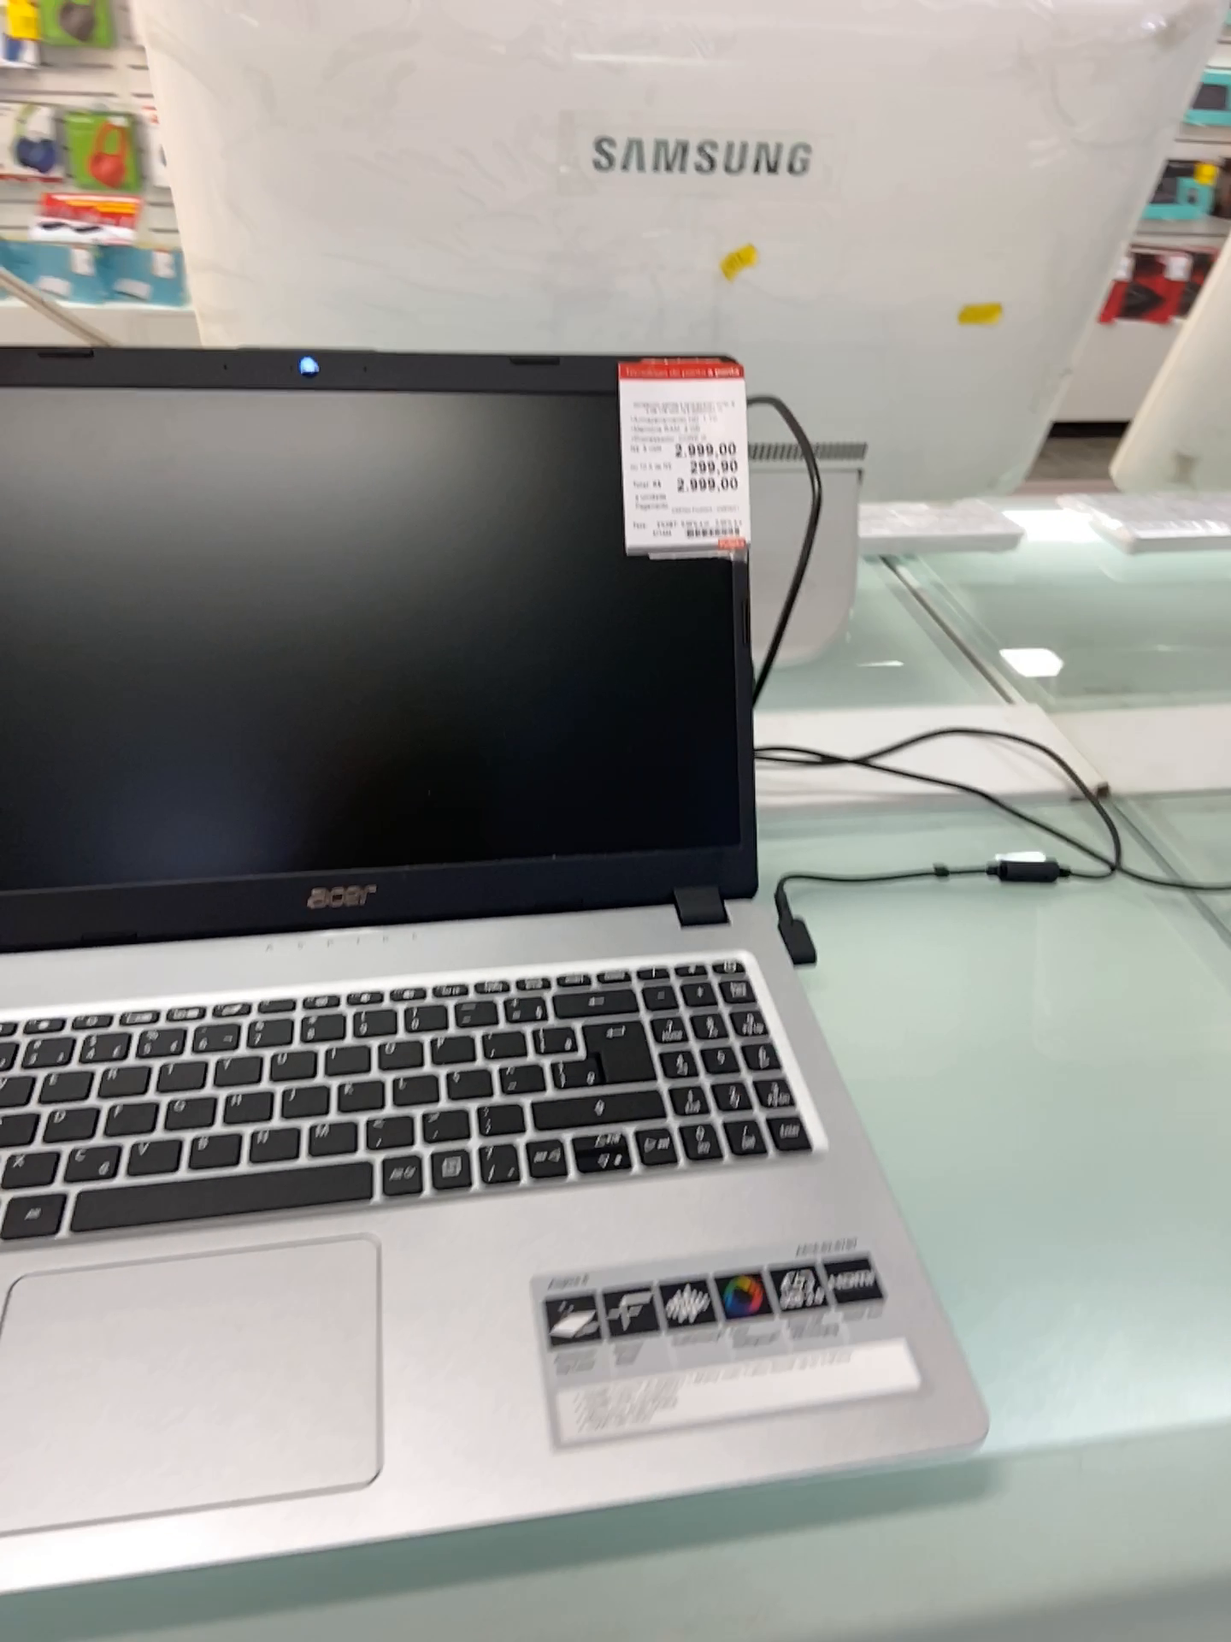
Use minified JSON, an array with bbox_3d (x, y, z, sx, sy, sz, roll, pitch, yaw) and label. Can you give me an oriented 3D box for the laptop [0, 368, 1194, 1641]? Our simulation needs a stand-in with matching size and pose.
[{"bbox_3d":[-0.100,0.000,0.422,0.365,0.204,0.366,-3,33,-9],"label":"laptop"}]
